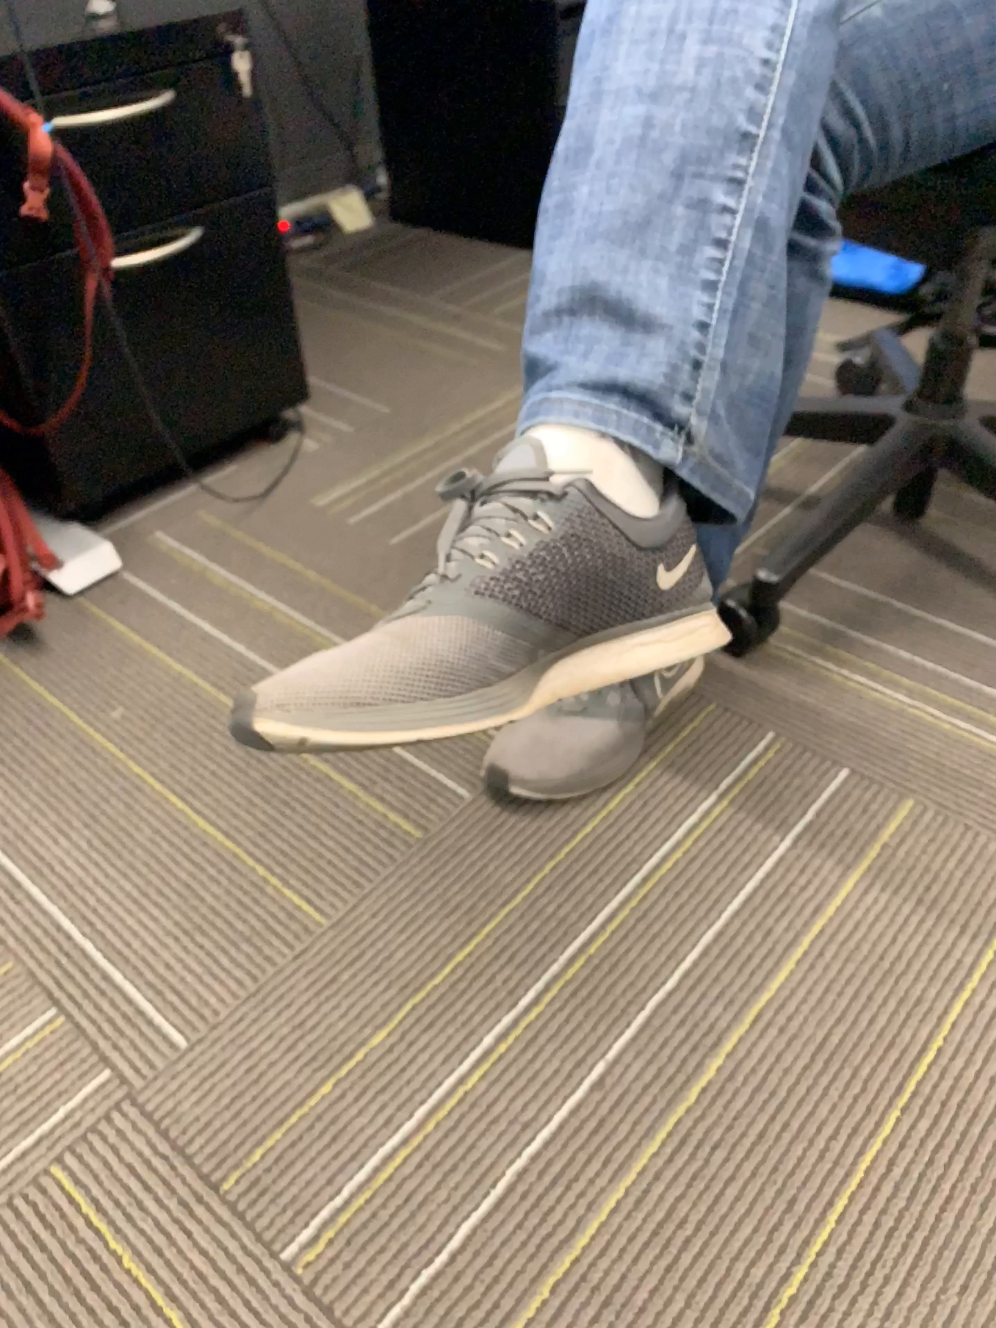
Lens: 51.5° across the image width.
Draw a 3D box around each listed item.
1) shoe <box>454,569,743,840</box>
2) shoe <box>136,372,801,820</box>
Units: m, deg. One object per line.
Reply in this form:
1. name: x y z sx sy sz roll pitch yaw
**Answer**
1. shoe: 0.099 0.028 0.967 0.120 0.085 0.269 30 50 33
2. shoe: -0.009 -0.040 0.538 0.295 0.143 0.122 -19 1 -29
